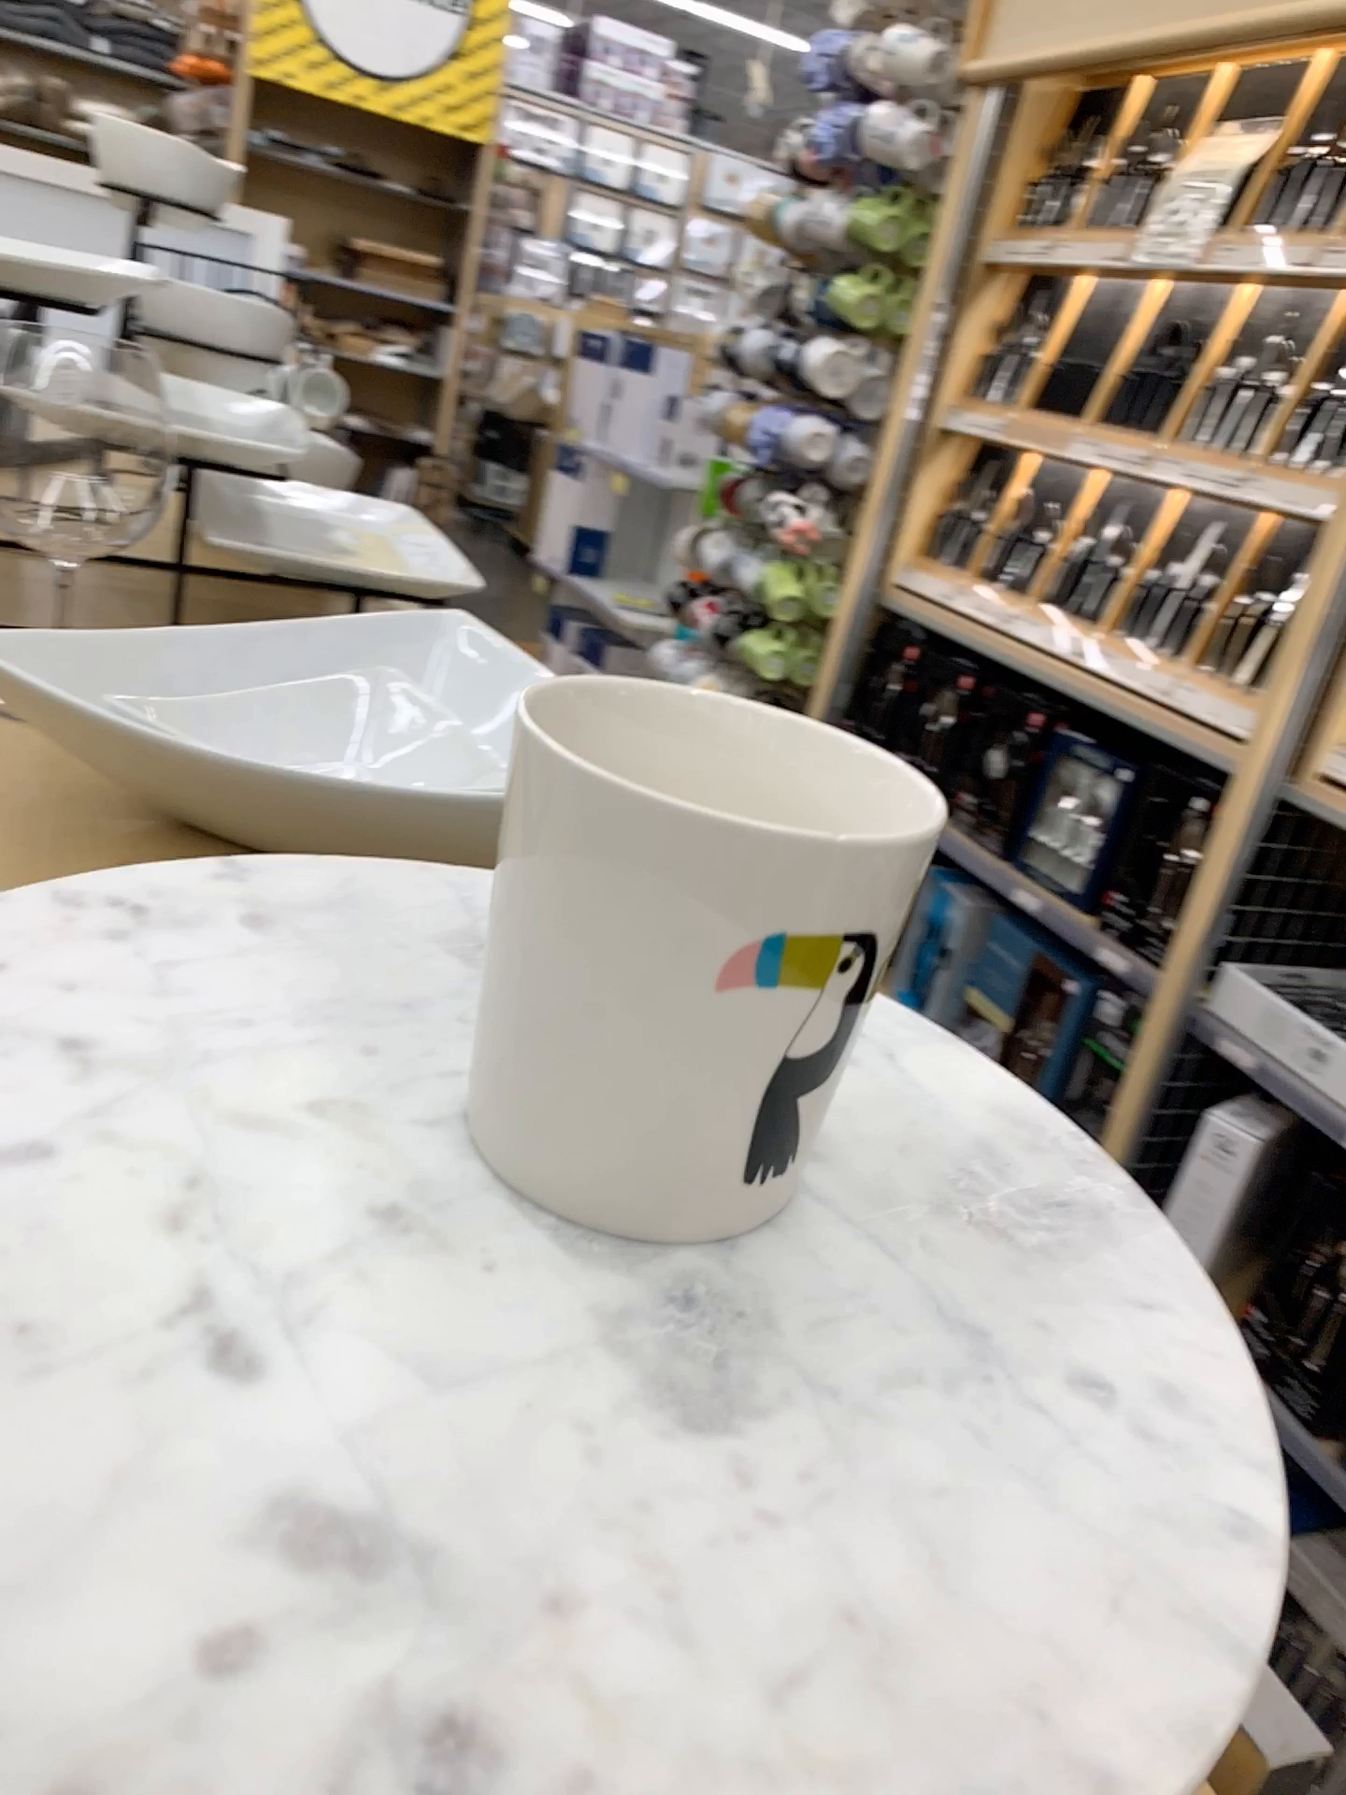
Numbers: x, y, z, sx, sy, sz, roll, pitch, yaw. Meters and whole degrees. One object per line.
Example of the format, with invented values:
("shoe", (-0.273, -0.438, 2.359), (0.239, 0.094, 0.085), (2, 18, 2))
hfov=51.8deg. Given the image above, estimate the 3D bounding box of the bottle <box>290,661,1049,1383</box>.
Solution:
("bottle", (0.004, 0.014, 0.337), (0.104, 0.107, 0.143), (24, 23, 25))
